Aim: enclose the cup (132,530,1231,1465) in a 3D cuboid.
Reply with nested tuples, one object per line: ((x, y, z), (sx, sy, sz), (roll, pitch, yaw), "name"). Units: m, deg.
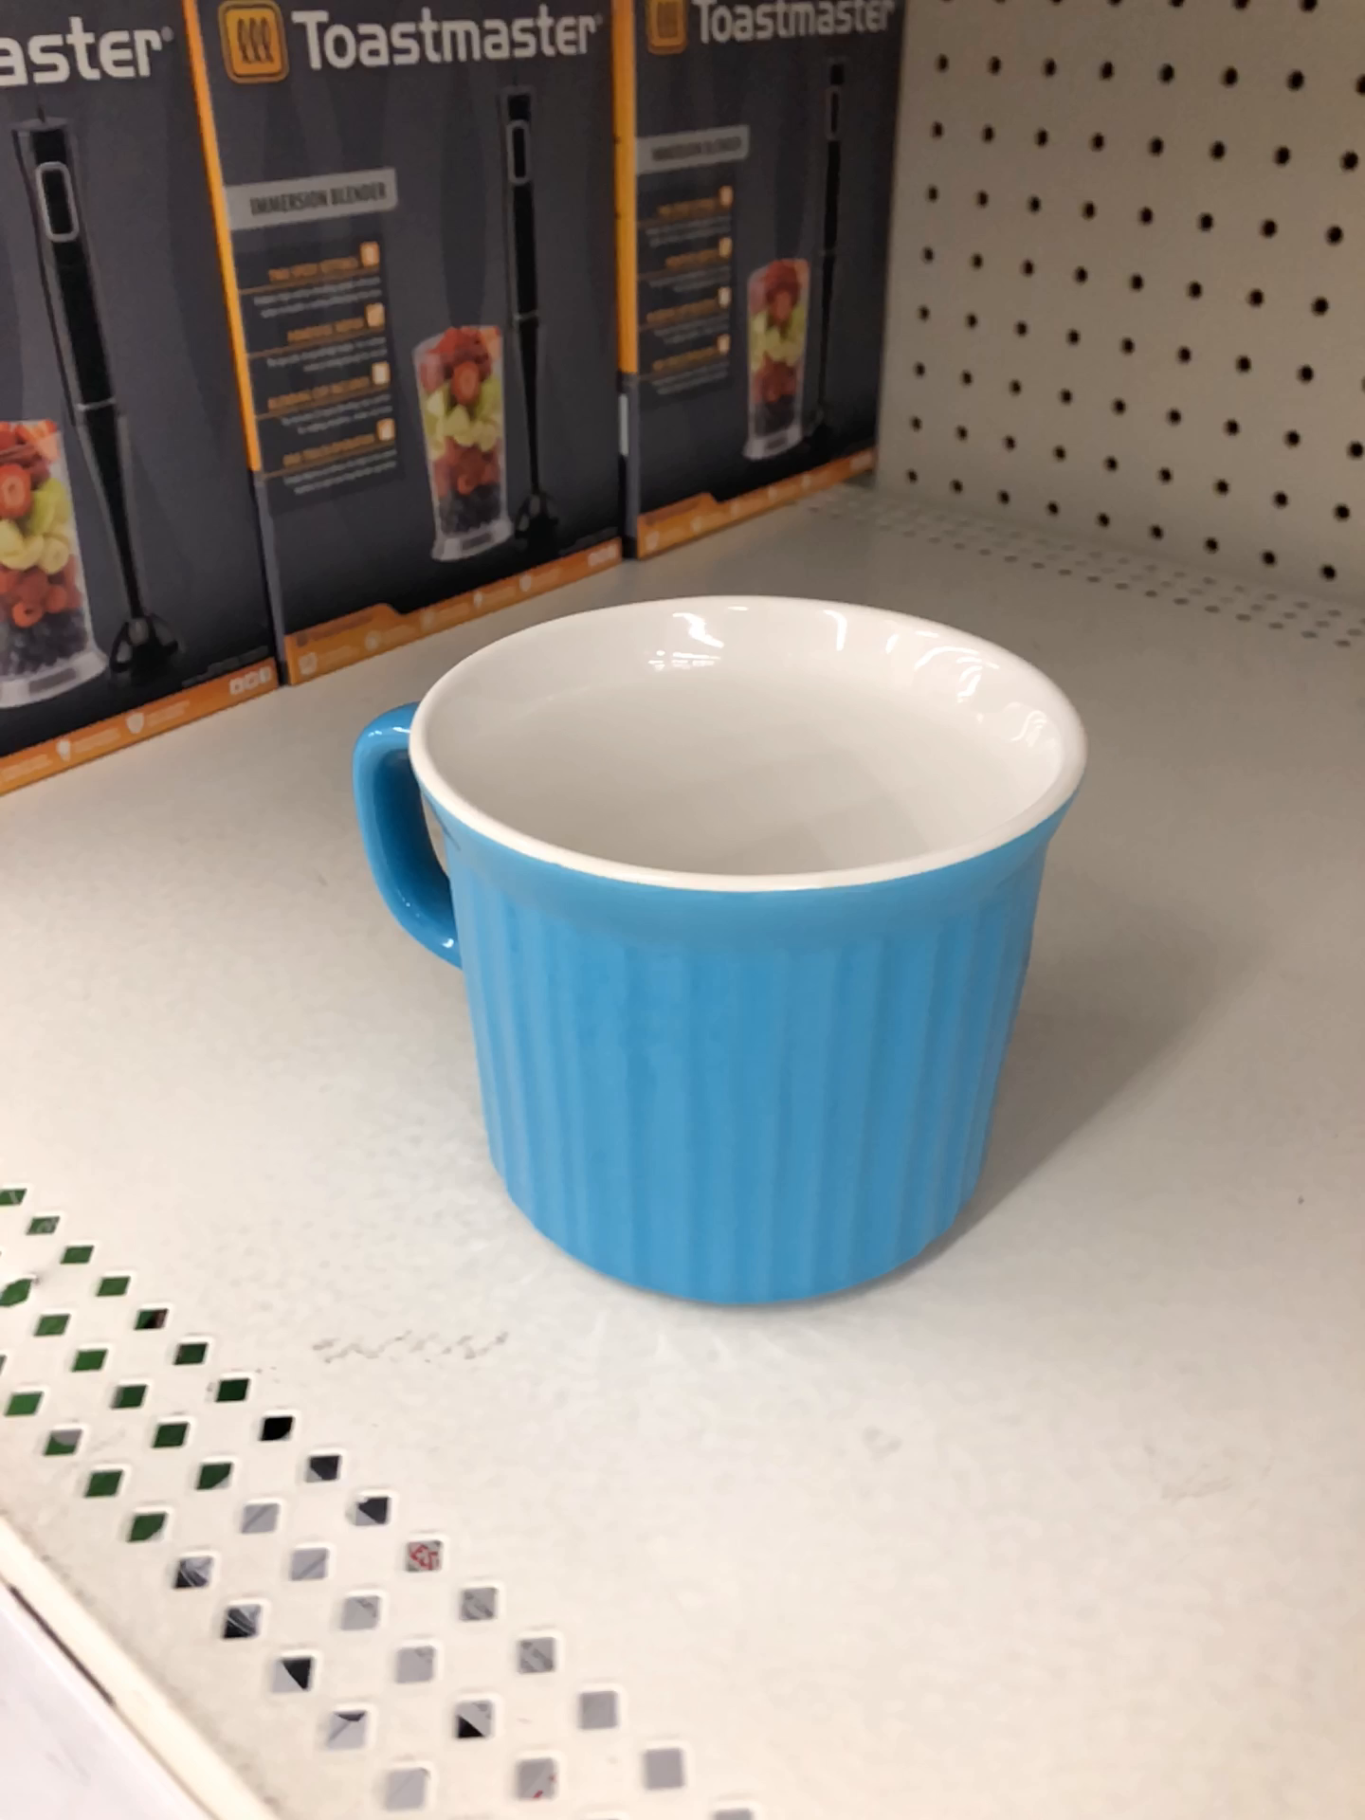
((0.005, 0.001, 0.302), (0.161, 0.093, 0.126), (16, 36, 24), "cup")
